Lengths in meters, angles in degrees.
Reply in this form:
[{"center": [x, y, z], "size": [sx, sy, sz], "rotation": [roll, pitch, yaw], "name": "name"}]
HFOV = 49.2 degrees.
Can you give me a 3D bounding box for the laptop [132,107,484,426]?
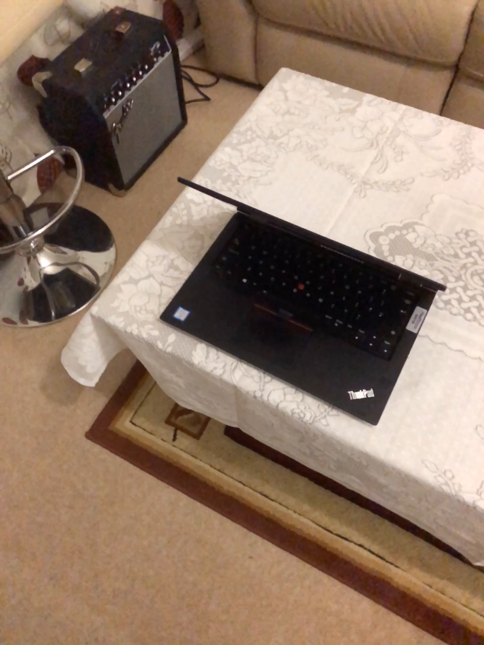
[{"center": [0.073, -0.071, 0.632], "size": [0.309, 0.174, 0.220], "rotation": [26, 65, 17], "name": "laptop"}]
